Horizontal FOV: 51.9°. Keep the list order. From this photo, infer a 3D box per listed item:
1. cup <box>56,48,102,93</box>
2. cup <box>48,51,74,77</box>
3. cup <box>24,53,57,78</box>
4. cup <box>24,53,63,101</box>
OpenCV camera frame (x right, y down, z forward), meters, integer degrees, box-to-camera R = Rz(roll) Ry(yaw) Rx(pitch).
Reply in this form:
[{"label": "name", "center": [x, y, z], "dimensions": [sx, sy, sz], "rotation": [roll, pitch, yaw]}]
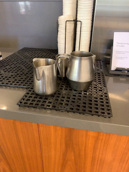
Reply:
[{"label": "cup", "center": [0.053, -0.063, 0.502], "dimensions": [0.140, 0.119, 0.100], "rotation": [13, 31, 21]}, {"label": "cup", "center": [-0.012, -0.096, 0.563], "dimensions": [0.070, 0.070, 0.111], "rotation": [11, 31, 18]}, {"label": "cup", "center": [-0.096, -0.087, 0.544], "dimensions": [0.110, 0.070, 0.070], "rotation": [14, 32, 22]}, {"label": "cup", "center": [-0.065, -0.039, 0.468], "dimensions": [0.080, 0.119, 0.121], "rotation": [11, 31, 17]}]
